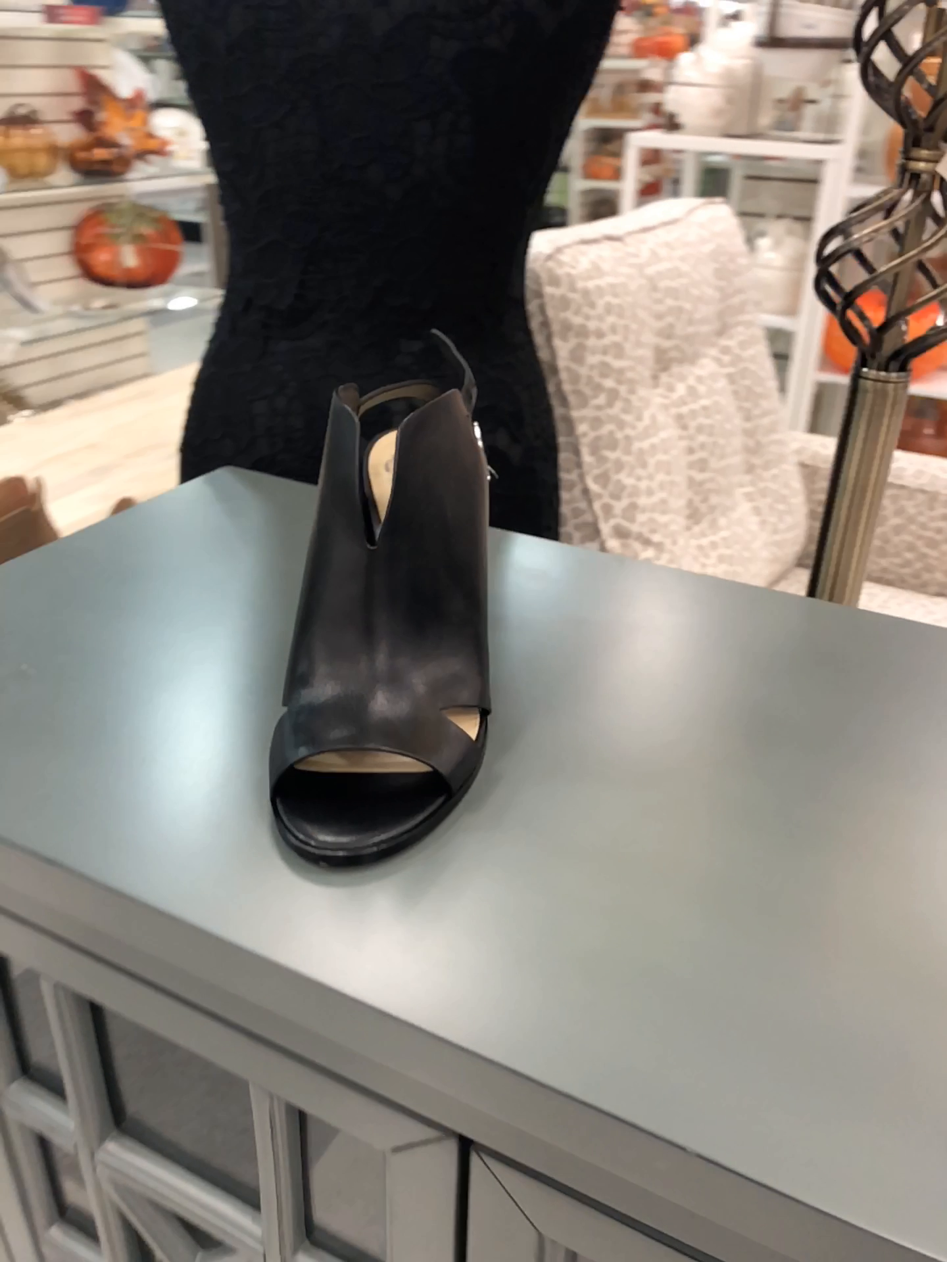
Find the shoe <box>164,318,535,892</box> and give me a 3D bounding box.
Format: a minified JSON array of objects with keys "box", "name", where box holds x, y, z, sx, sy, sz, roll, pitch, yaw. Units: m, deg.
[{"box":[-0.033,-0.032,0.448,0.095,0.150,0.238,4,28,6],"name":"shoe"}]
